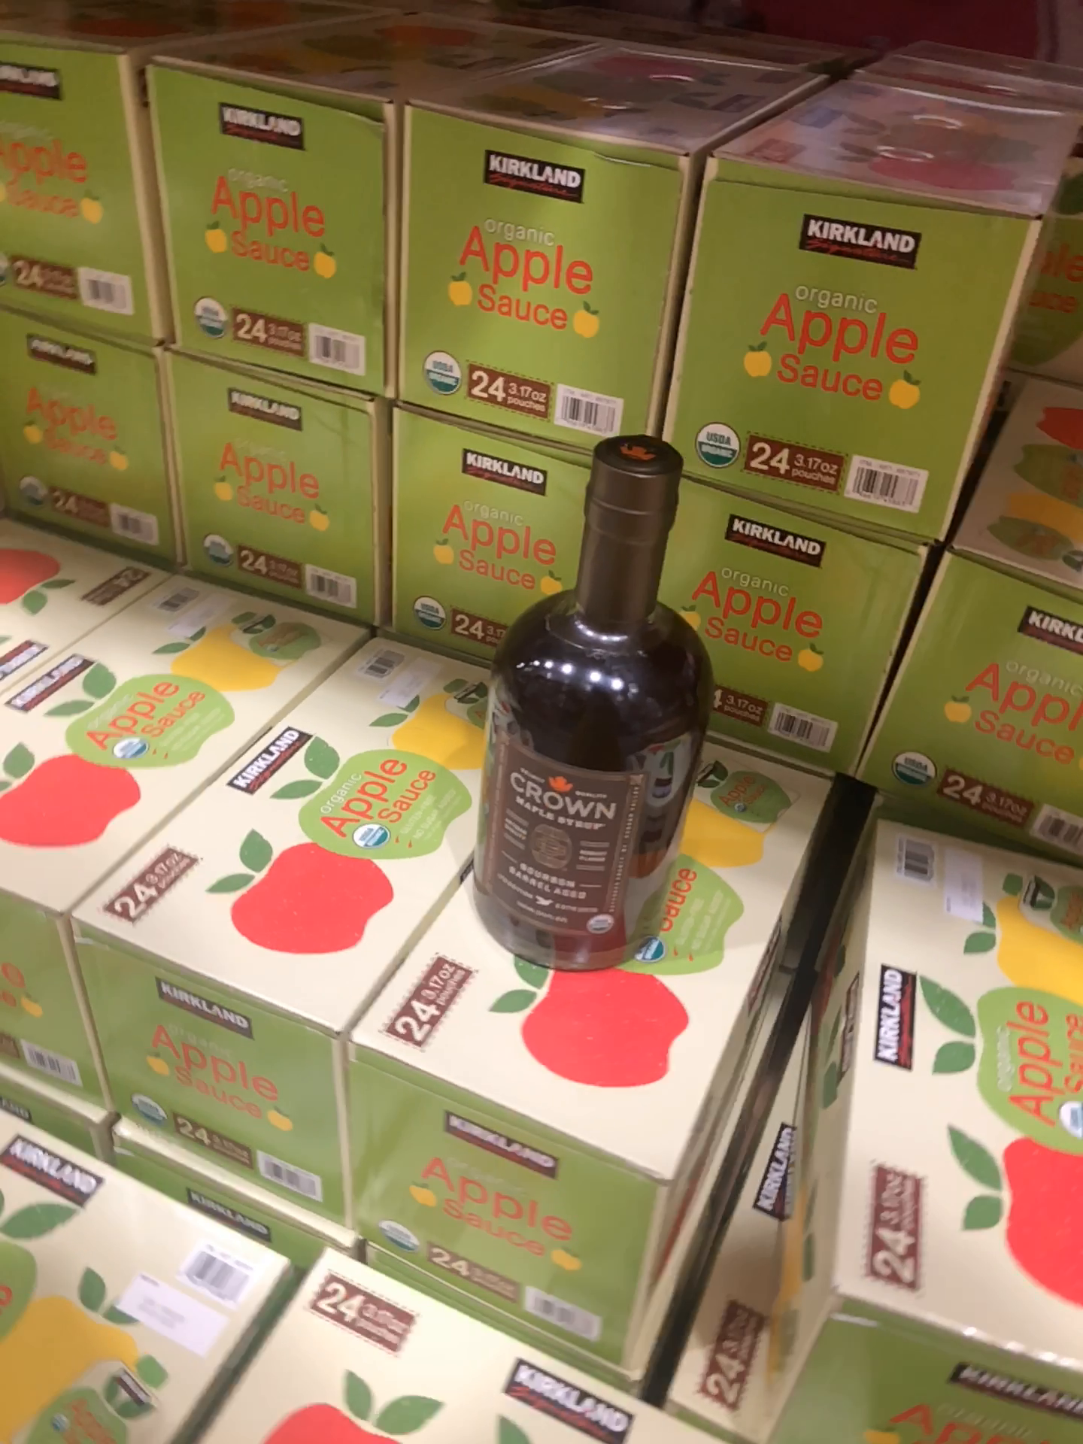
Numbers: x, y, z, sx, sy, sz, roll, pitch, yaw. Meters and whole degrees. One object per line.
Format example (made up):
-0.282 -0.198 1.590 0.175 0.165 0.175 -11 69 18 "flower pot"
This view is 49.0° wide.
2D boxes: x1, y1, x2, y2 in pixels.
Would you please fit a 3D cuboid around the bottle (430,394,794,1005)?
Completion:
0.023 -0.005 0.491 0.100 0.219 0.090 16 37 13 "bottle"
